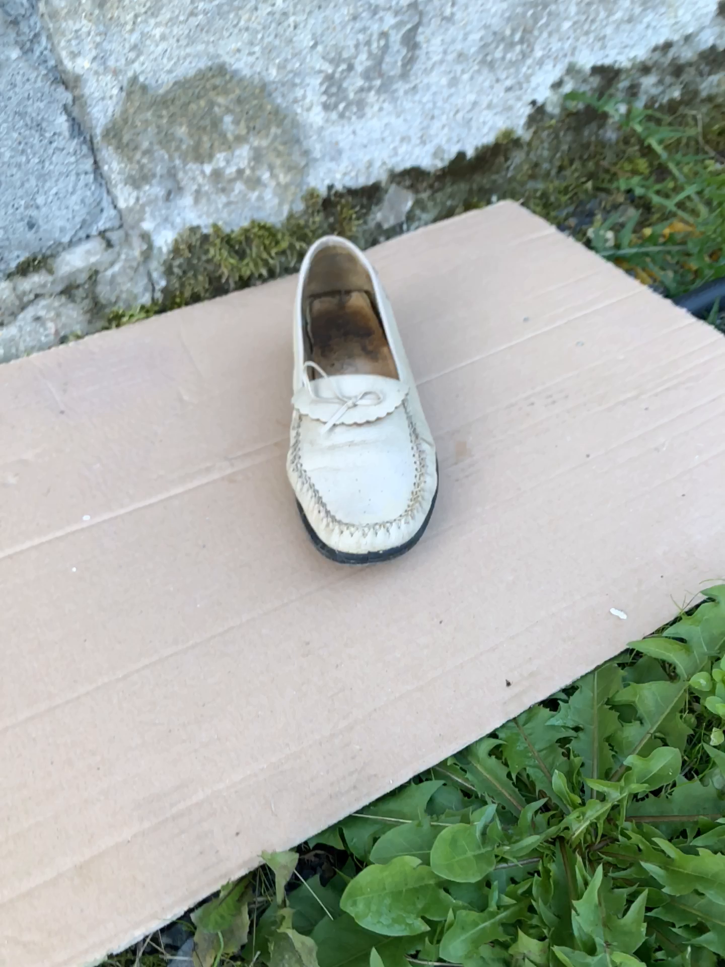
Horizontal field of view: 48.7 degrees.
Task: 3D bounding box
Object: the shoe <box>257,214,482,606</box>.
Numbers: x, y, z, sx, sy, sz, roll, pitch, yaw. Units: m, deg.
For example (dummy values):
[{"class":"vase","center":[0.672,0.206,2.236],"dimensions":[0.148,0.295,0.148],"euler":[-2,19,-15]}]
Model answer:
[{"class":"shoe","center":[-0.005,-0.061,0.498],"dimensions":[0.100,0.080,0.261],"euler":[-11,45,2]}]
